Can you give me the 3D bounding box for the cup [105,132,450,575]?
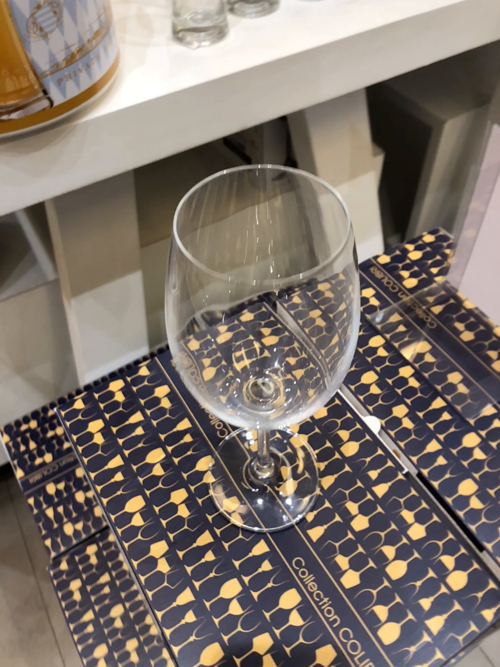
[{"bbox_3d":[0.008,0.028,0.280,0.090,0.209,0.090,-1,52,1],"label":"cup"}]
